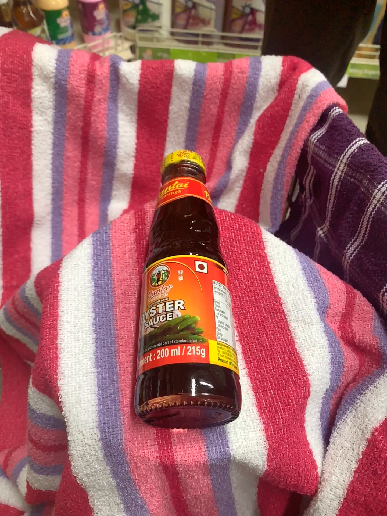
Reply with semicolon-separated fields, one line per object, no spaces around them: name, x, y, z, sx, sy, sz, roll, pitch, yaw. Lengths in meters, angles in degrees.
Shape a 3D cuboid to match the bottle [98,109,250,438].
bottle;-0.009;-0.002;0.240;0.050;0.050;0.190;-21;49;25
